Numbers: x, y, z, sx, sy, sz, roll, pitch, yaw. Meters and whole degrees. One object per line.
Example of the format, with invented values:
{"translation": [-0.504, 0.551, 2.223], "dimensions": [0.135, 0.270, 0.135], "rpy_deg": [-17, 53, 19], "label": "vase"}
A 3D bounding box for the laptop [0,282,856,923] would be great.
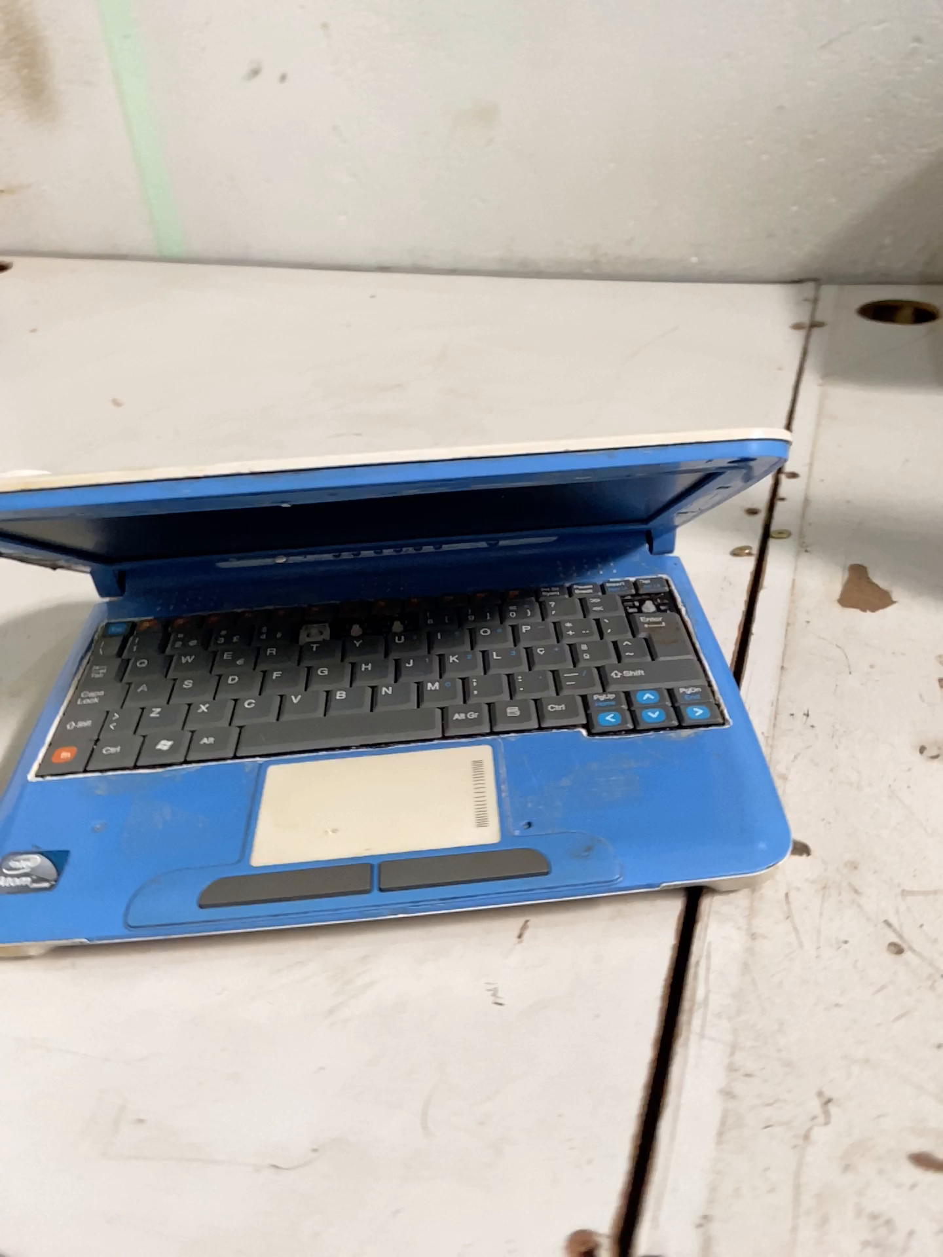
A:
{"translation": [-0.038, -0.021, 0.326], "dimensions": [0.246, 0.116, 0.183], "rpy_deg": [-5, 35, 1], "label": "laptop"}
